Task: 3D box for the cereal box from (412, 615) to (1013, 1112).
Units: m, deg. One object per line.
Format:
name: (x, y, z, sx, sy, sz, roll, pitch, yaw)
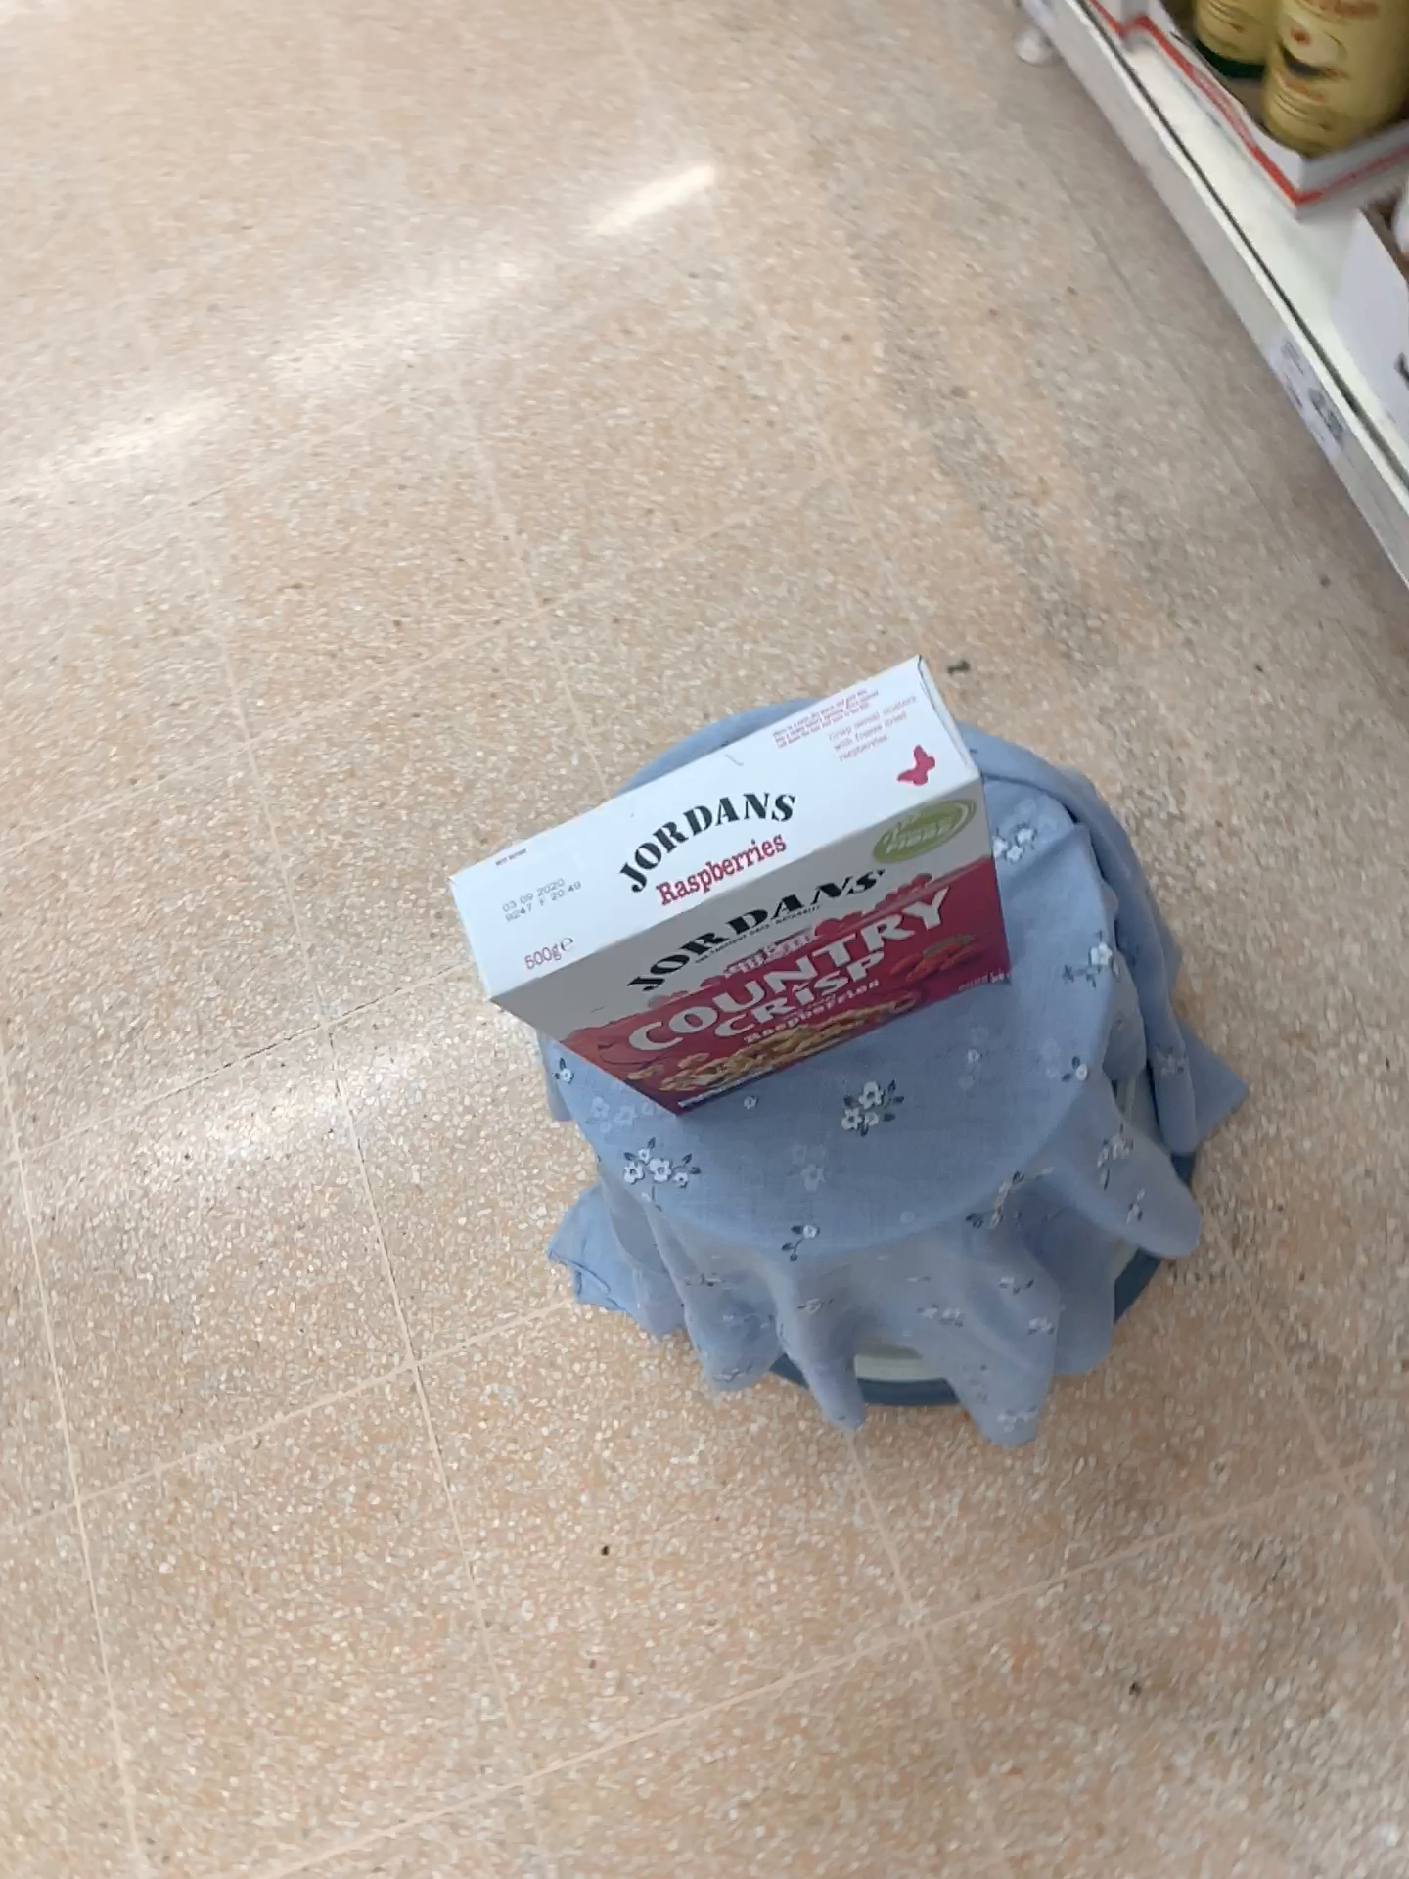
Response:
cereal box: (0.026, -0.011, 0.619, 0.200, 0.269, 0.060, -23, 71, 5)
